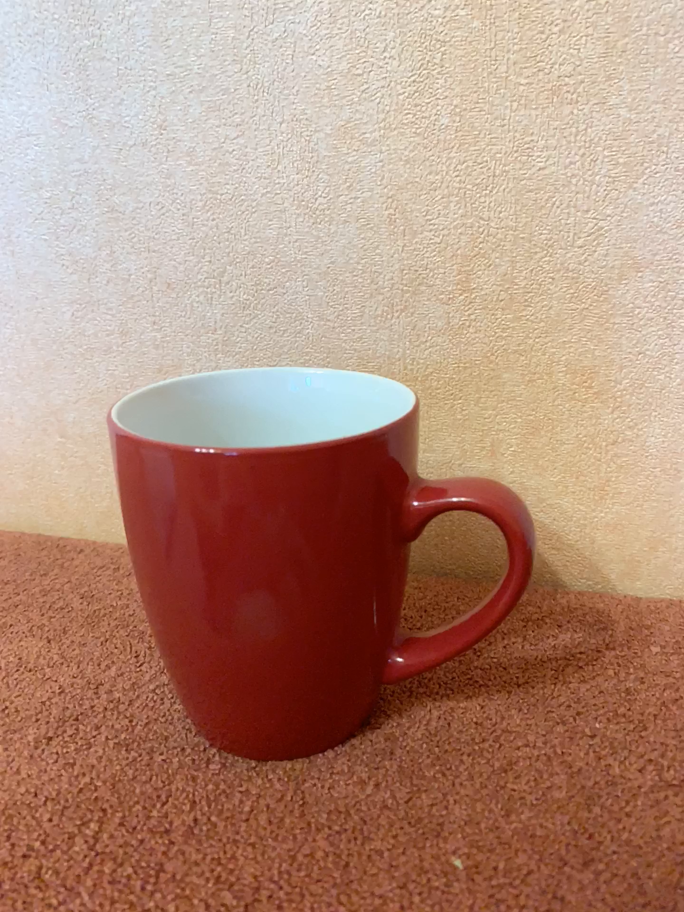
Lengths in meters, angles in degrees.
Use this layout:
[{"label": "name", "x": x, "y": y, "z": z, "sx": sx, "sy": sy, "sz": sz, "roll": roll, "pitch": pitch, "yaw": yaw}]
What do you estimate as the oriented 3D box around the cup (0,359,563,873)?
[{"label": "cup", "x": -0.007, "y": 0.029, "z": 0.194, "sx": 0.122, "sy": 0.091, "sz": 0.083, "roll": 4, "pitch": 21, "yaw": 19}]
